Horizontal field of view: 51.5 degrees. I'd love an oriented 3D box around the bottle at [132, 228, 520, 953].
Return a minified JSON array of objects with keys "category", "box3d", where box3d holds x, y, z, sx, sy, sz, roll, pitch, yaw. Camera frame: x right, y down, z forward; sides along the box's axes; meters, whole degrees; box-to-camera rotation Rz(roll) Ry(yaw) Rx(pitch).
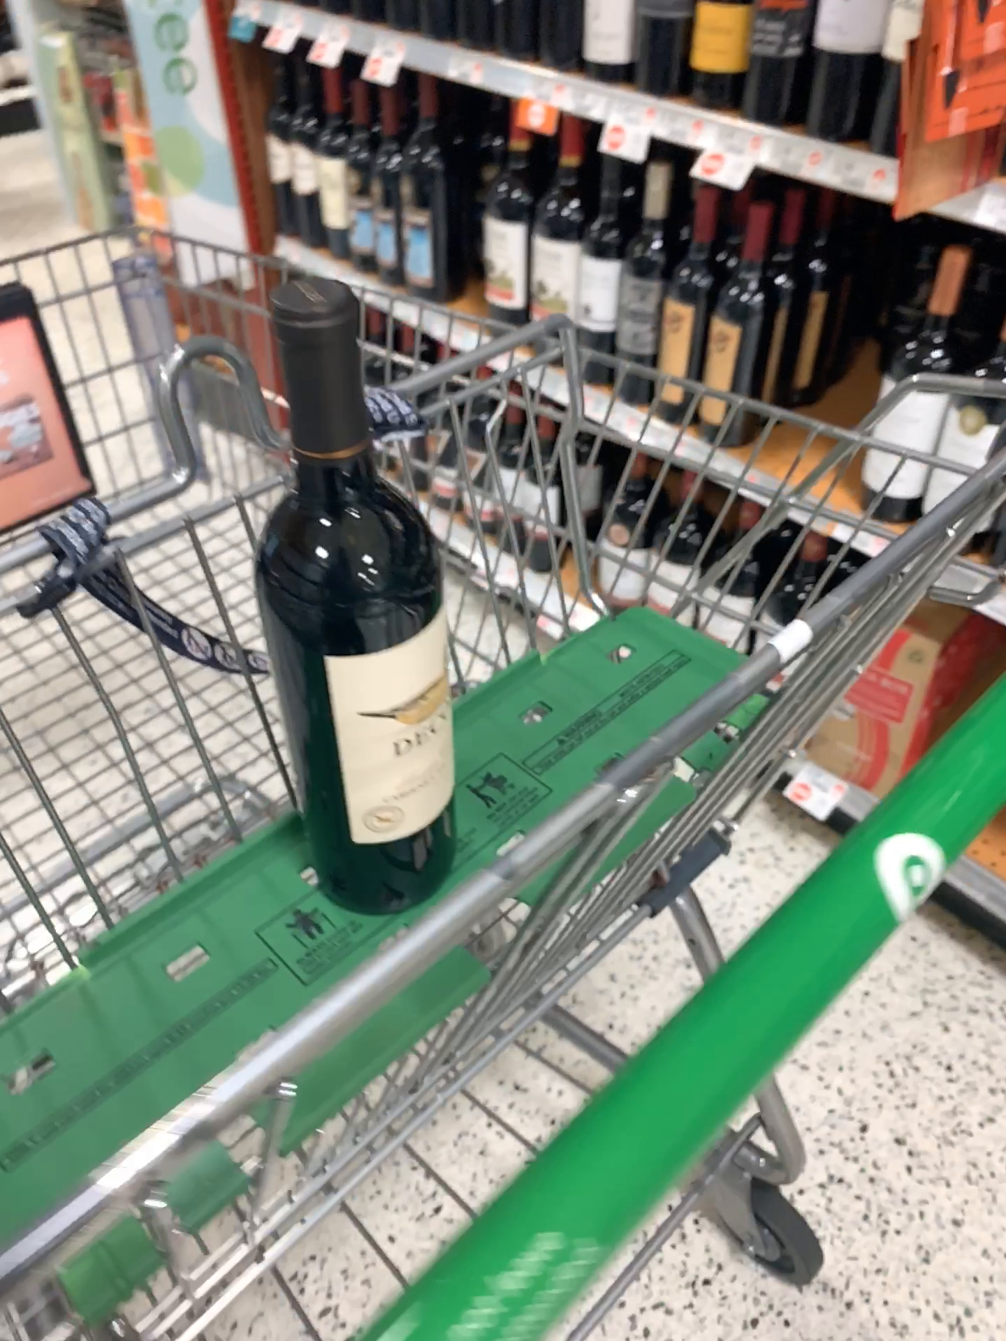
[{"category":"bottle","box3d":[-0.057,-0.017,0.452,0.090,0.297,0.091,-1,41,1]}]
